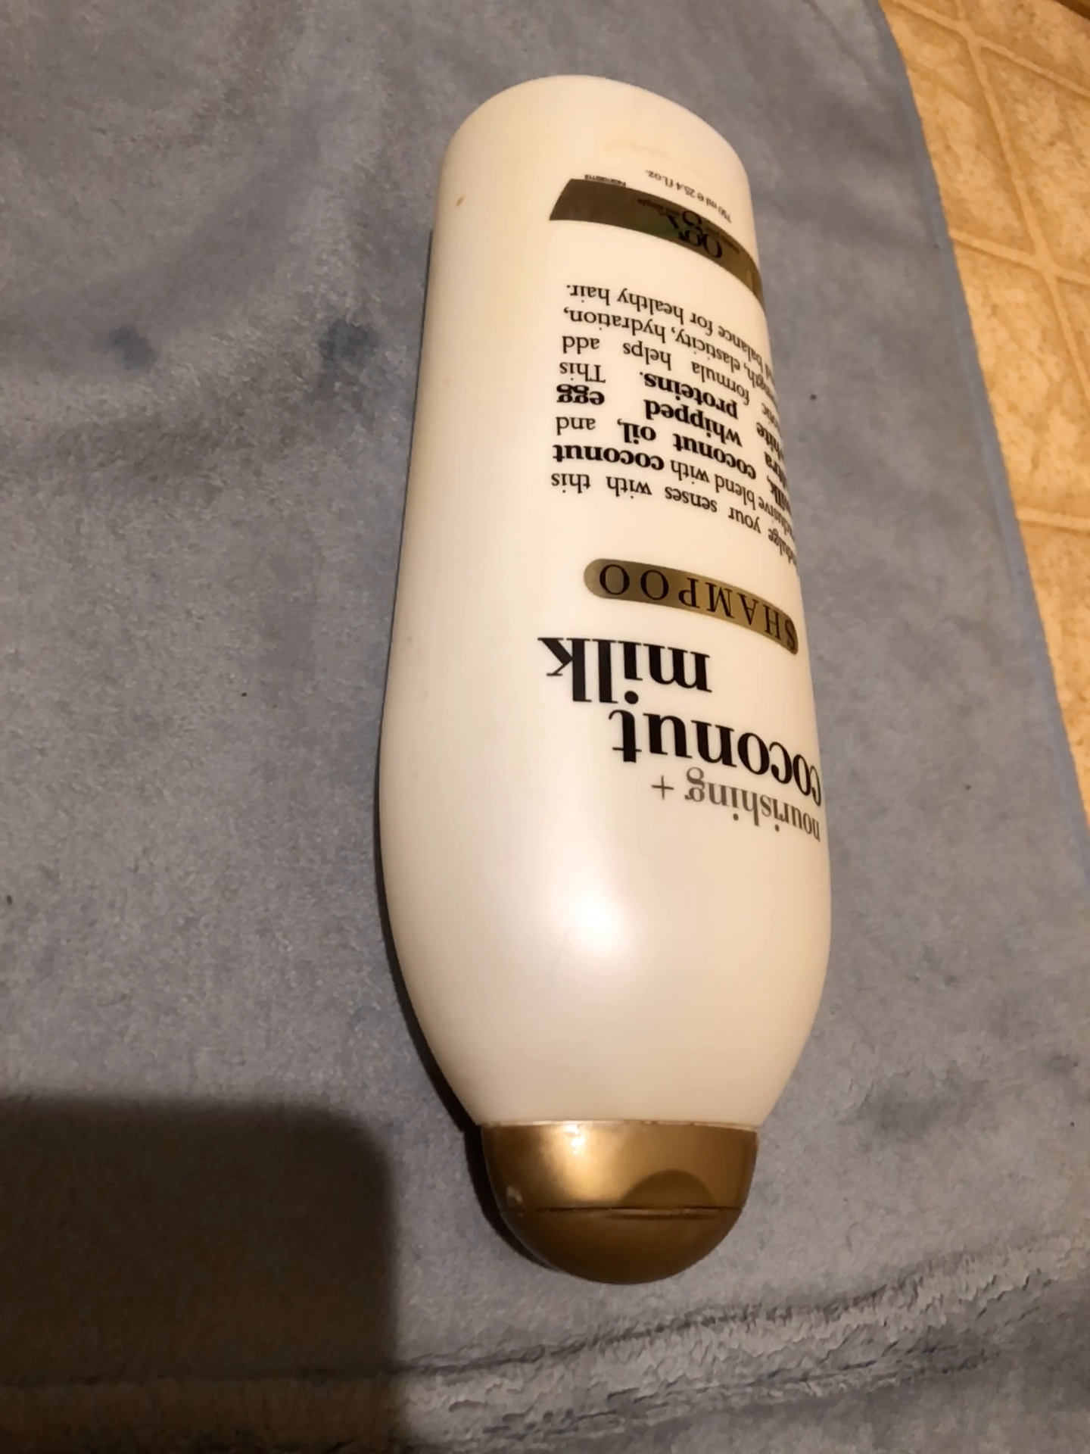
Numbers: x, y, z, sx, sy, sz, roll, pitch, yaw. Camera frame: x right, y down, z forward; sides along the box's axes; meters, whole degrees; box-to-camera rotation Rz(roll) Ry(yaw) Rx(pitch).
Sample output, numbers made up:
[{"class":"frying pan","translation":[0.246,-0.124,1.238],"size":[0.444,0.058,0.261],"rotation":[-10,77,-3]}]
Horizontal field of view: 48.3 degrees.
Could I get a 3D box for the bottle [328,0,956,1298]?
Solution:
[{"class":"bottle","translation":[0.015,-0.022,0.215],"size":[0.080,0.040,0.220],"rotation":[12,64,-27]}]
